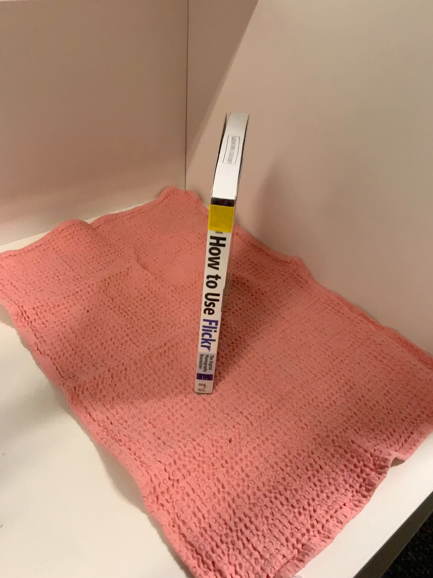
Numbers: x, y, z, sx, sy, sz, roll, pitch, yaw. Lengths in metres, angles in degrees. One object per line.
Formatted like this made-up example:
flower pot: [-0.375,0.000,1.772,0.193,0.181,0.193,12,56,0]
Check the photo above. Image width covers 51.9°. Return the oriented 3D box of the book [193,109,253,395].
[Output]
book: [0.007,-0.040,0.466,0.025,0.228,0.192,7,39,2]
